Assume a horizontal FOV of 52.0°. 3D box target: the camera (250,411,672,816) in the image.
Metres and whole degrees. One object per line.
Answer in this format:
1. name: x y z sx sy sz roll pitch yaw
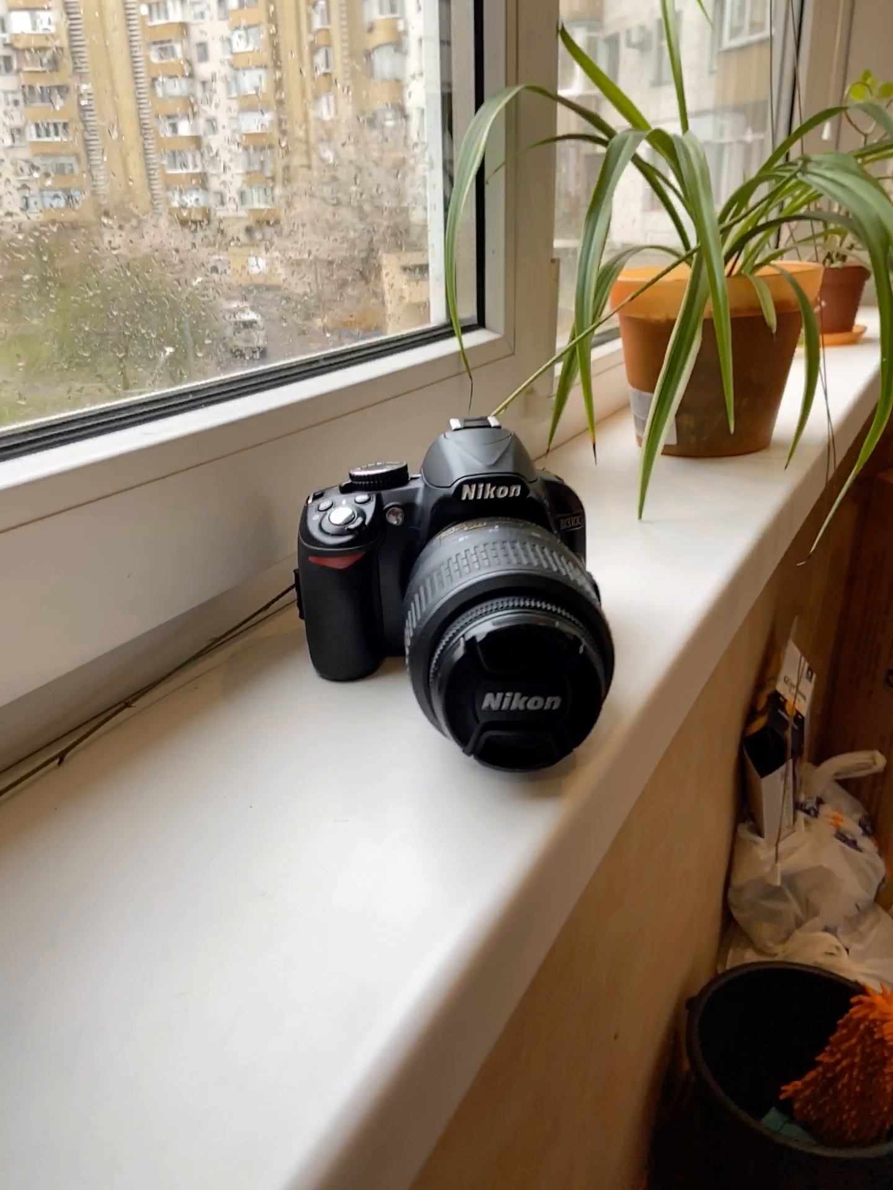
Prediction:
1. camera: 0.001 -0.006 0.353 0.121 0.092 0.159 -3 23 -3
